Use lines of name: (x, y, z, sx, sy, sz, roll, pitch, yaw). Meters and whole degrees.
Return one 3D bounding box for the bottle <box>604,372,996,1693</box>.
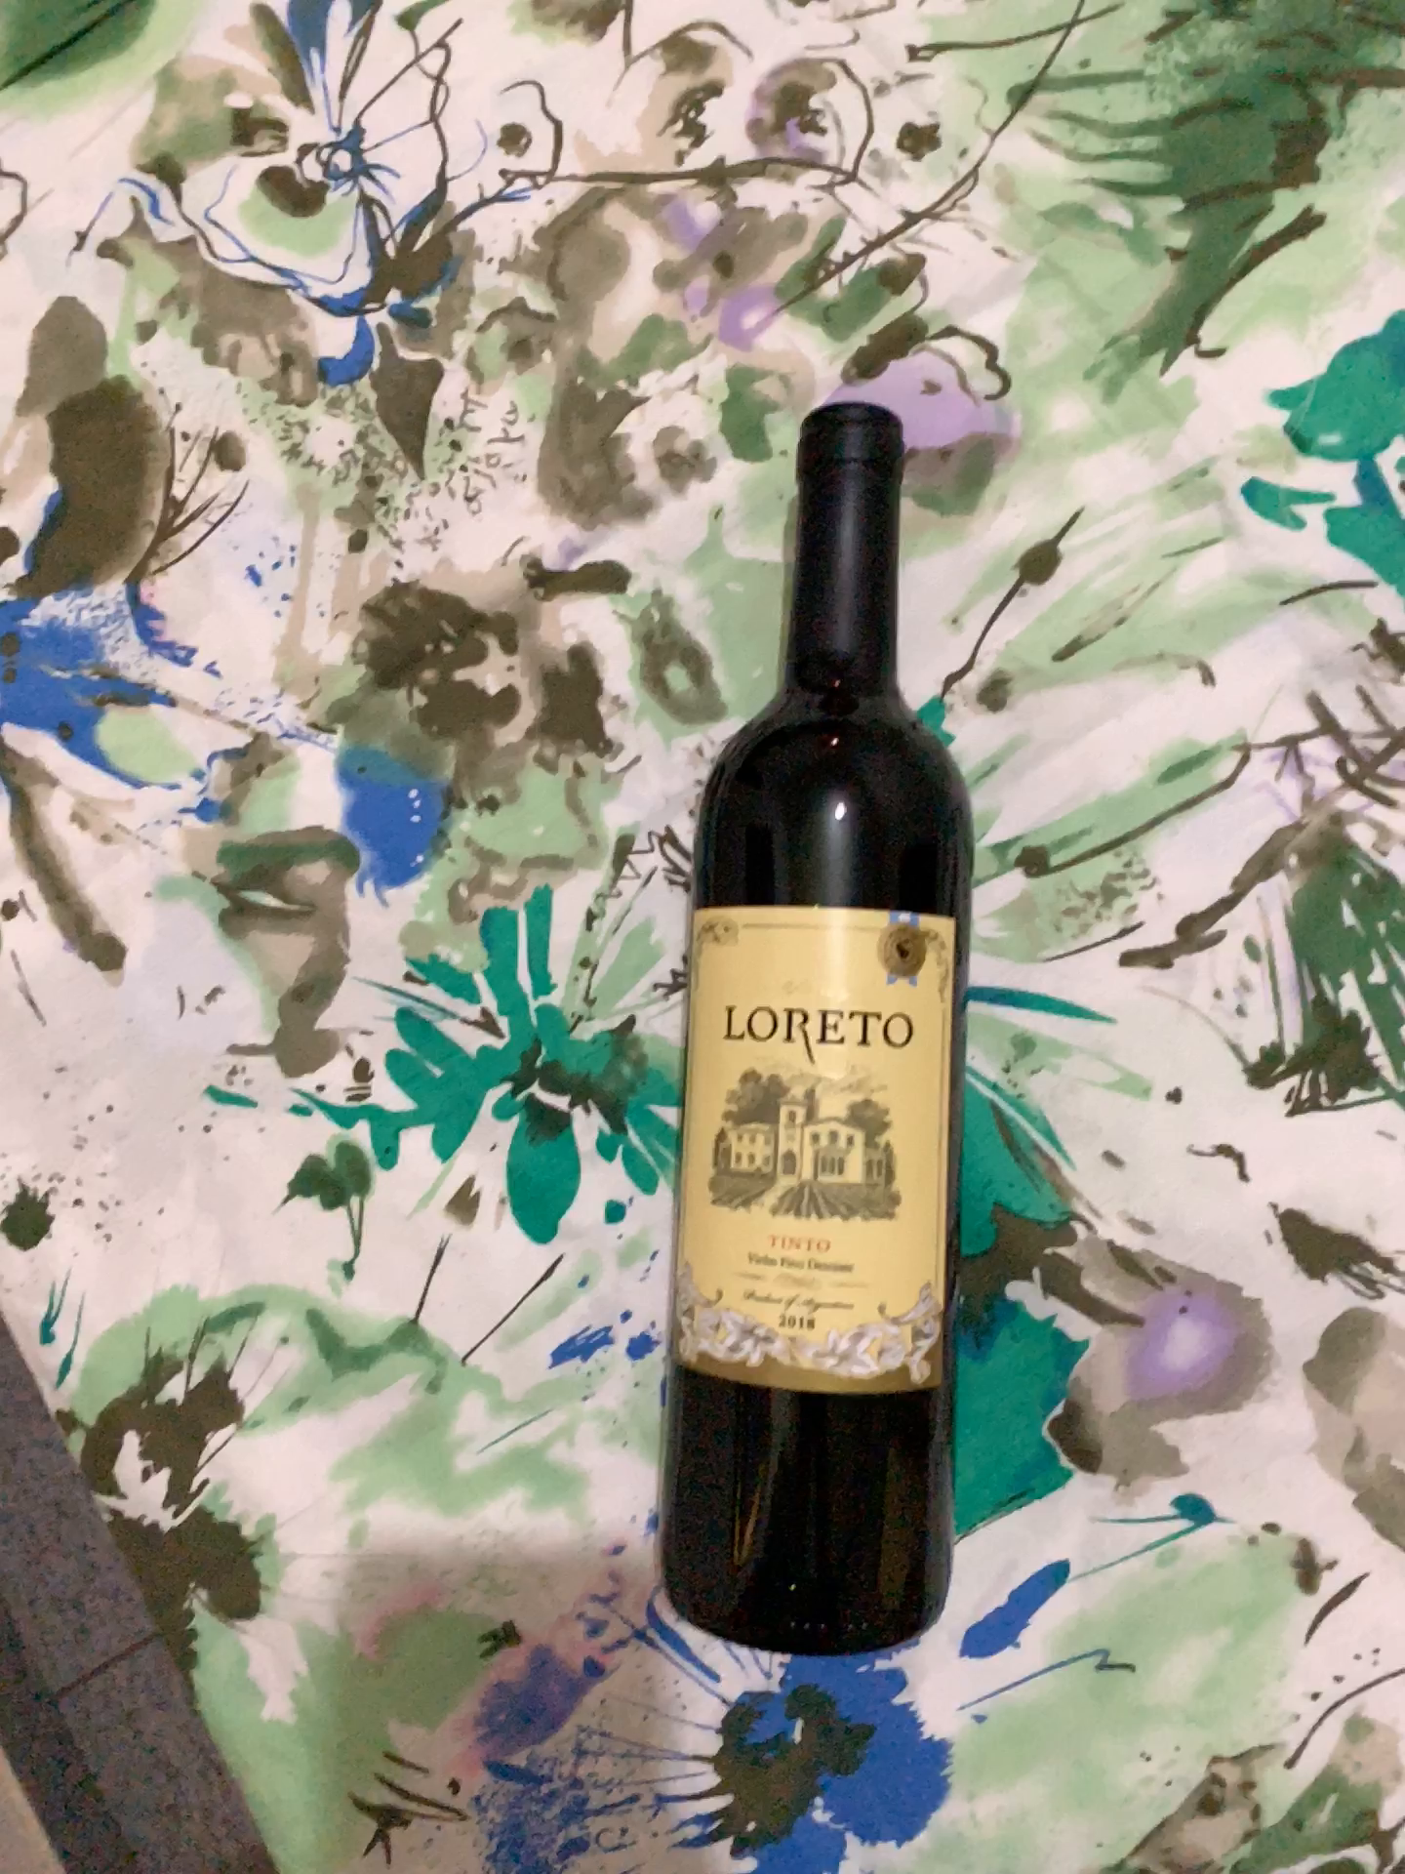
bottle: (0.027, 0.019, 0.367, 0.080, 0.050, 0.310, 2, 87, 7)
